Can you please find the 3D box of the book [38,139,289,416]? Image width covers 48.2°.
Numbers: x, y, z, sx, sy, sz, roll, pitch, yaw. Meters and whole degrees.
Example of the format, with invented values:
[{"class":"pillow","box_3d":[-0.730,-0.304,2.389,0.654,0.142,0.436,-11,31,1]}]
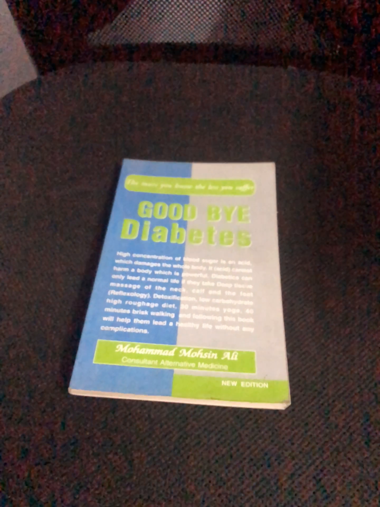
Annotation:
[{"class":"book","box_3d":[-0.009,-0.002,0.328,0.150,0.020,0.231,3,54,2]}]
